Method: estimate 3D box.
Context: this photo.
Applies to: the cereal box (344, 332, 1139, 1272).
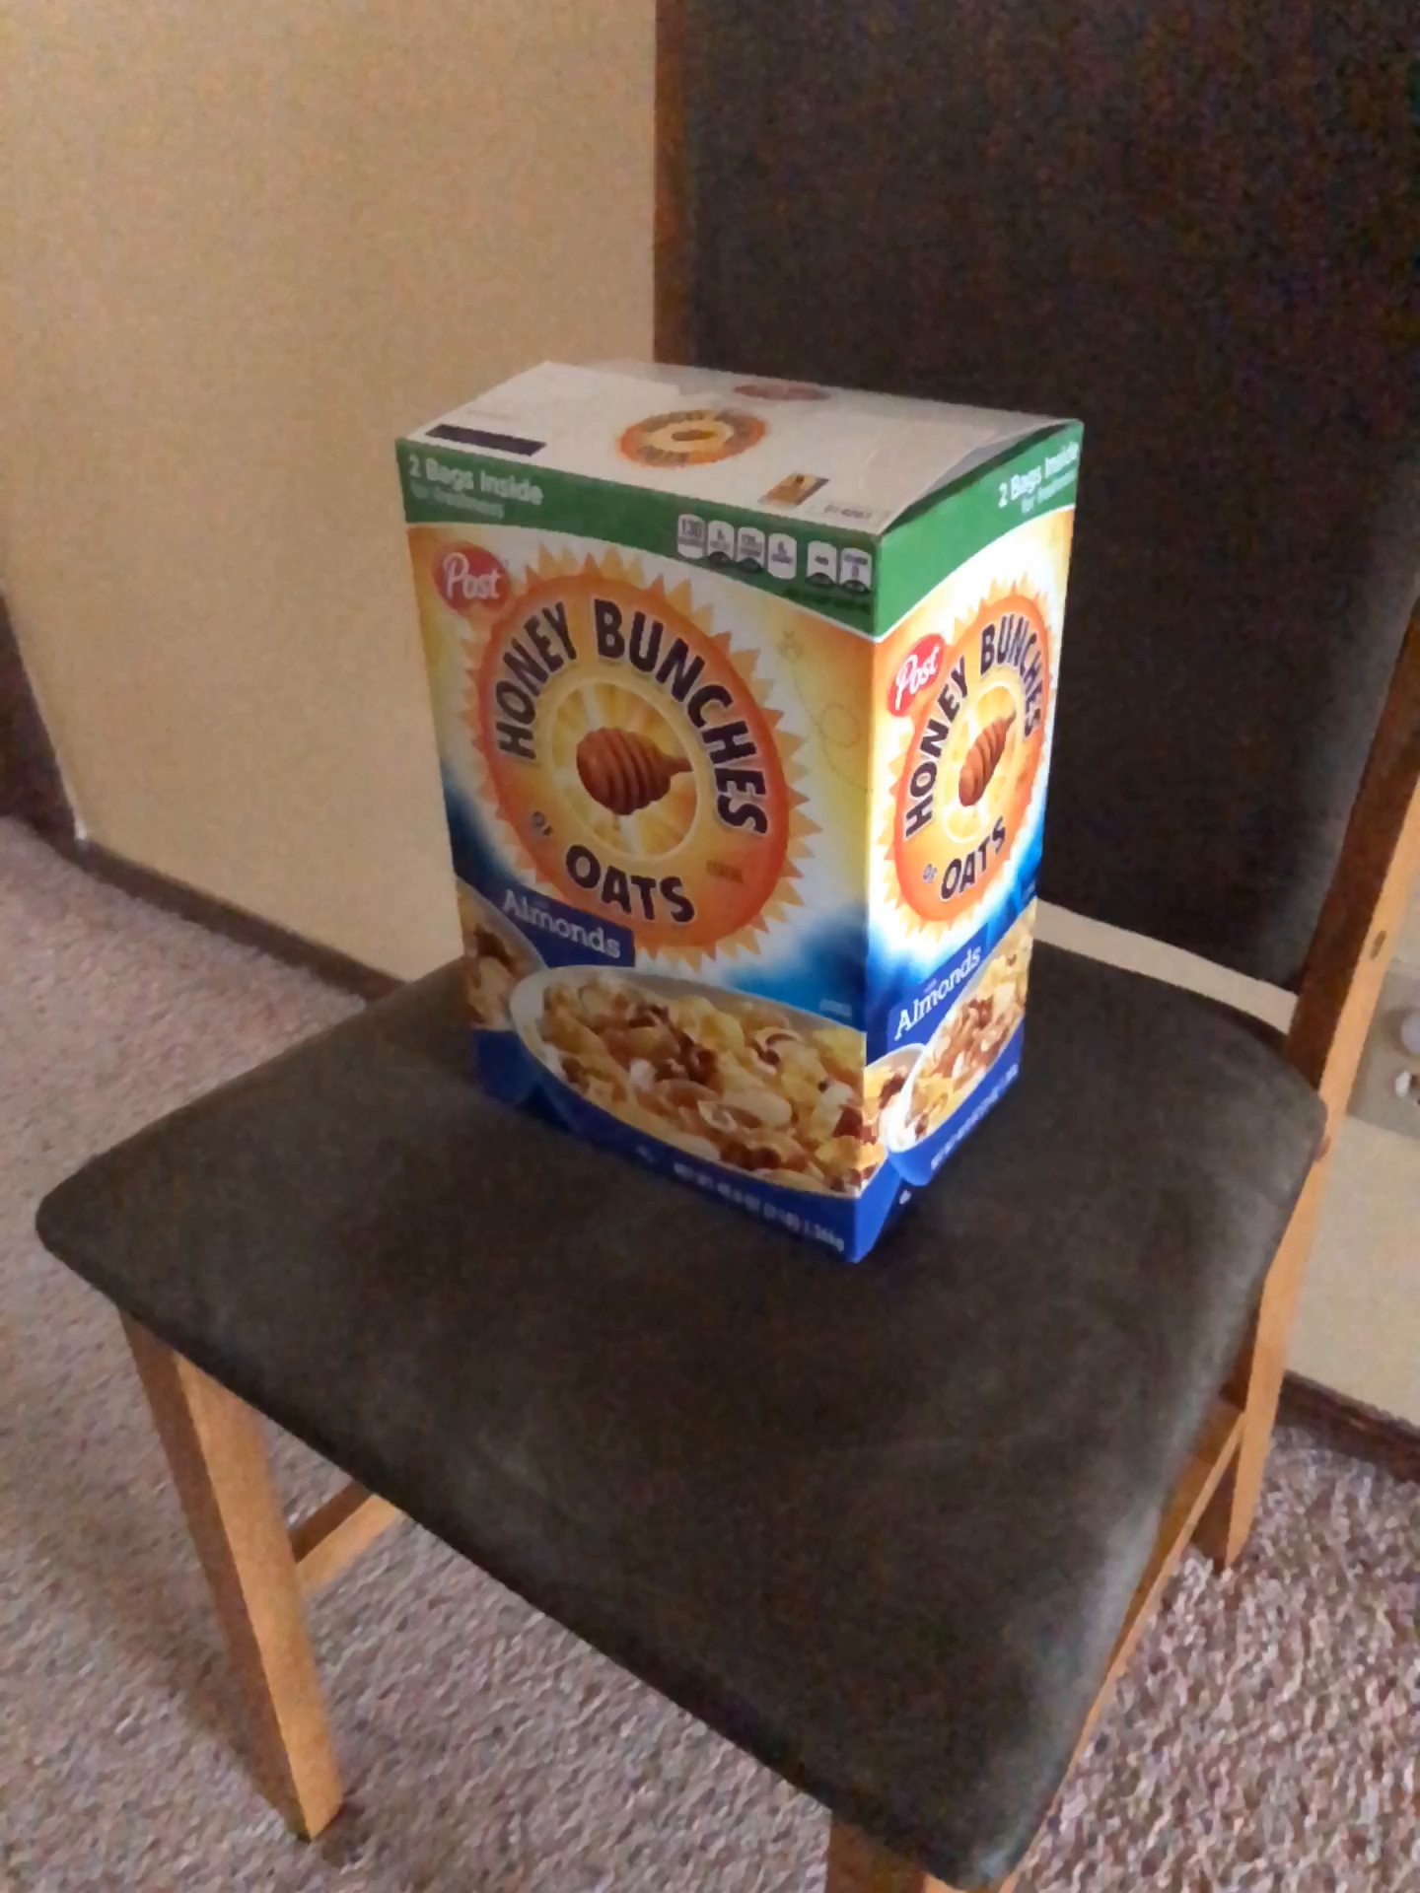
[{"bbox_3d":[0.014,-0.068,0.610,0.220,0.279,0.160,20,38,32],"label":"cereal box"}]
